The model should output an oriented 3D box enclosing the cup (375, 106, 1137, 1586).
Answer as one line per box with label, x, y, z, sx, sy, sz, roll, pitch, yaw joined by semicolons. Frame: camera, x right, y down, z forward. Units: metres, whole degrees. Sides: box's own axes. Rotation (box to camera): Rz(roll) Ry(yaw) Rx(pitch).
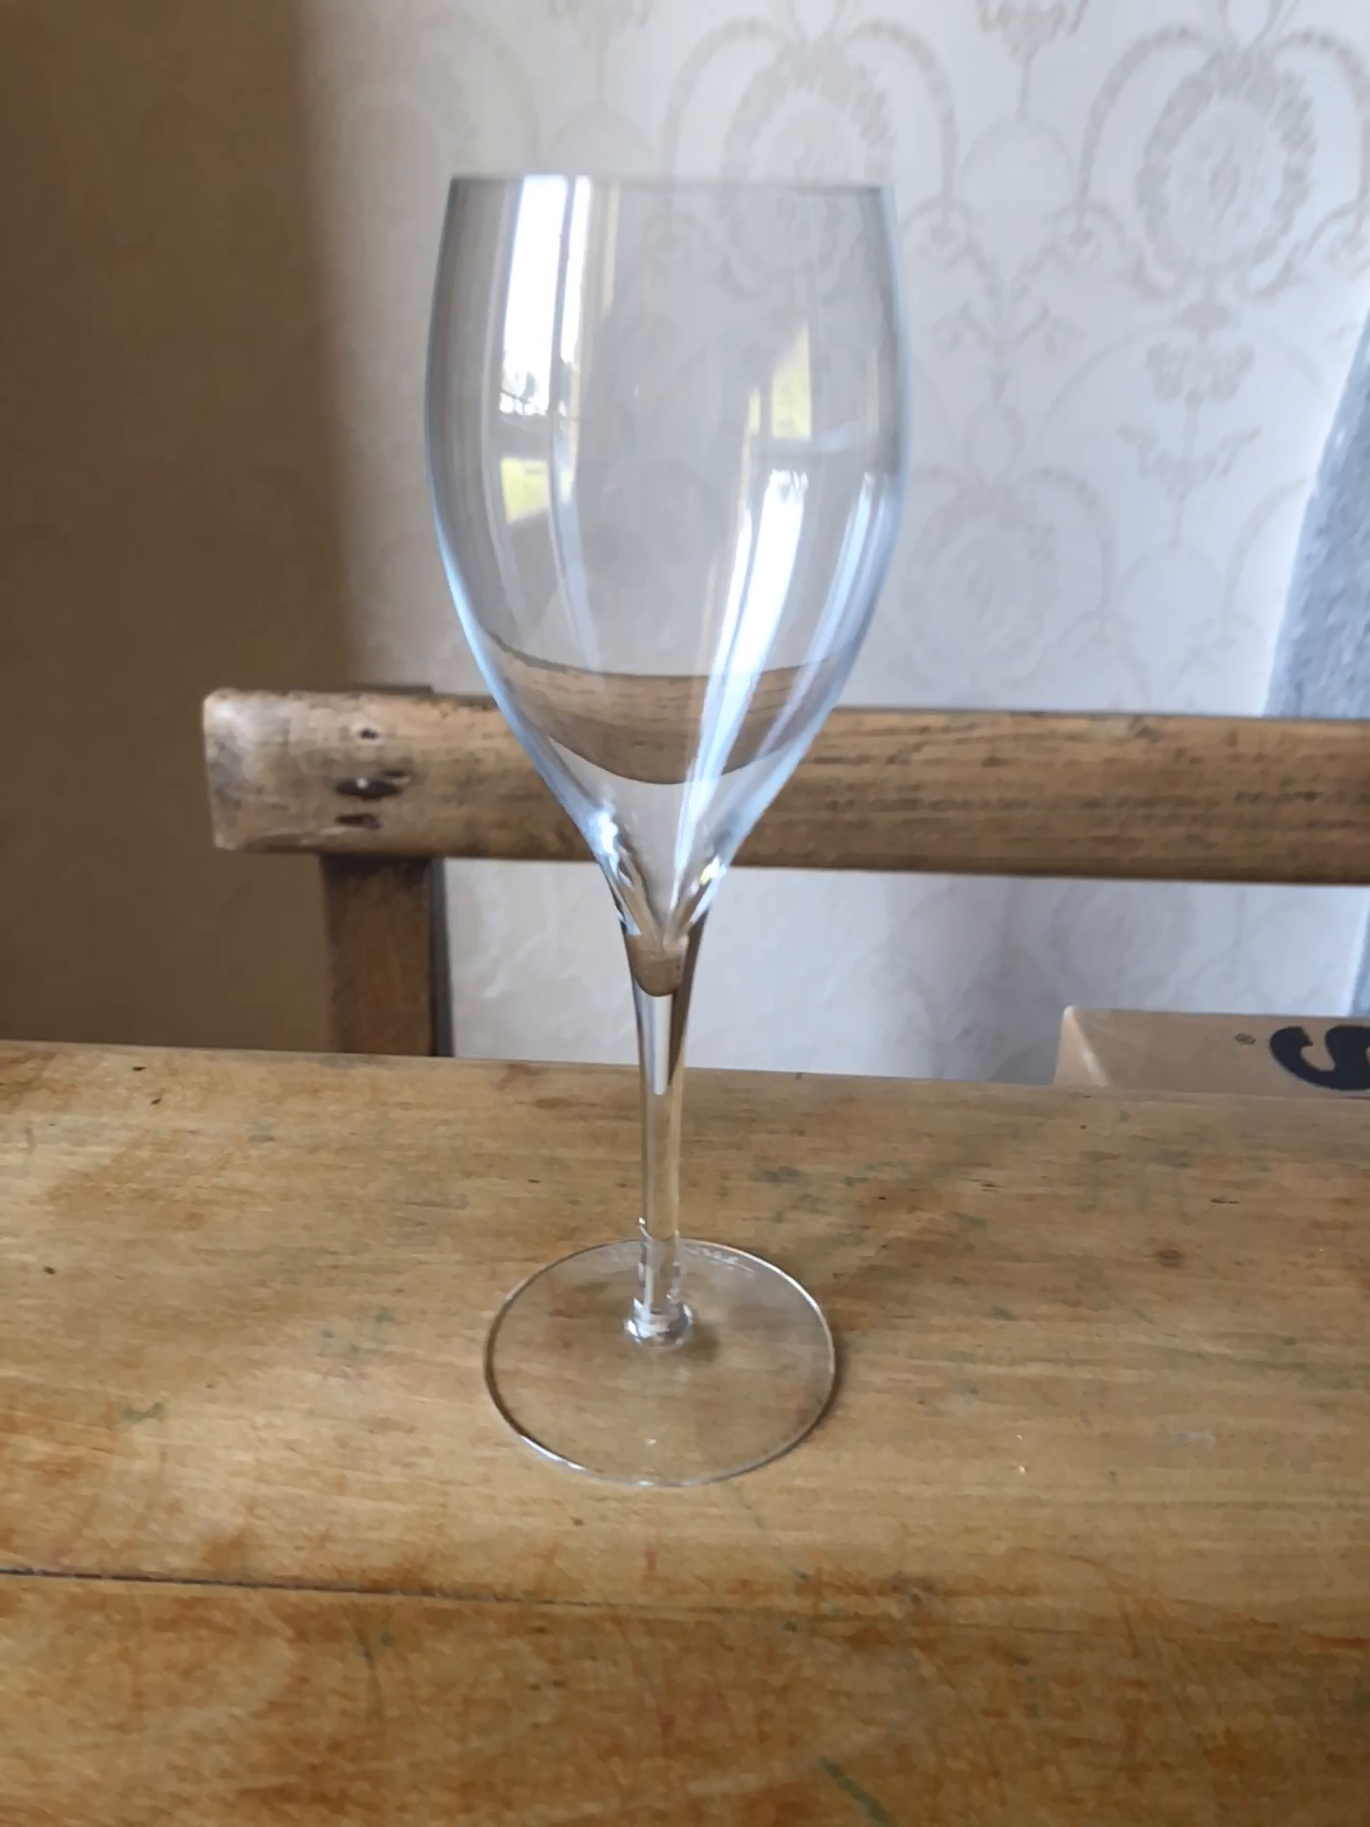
cup;0.003;-0.009;0.246;0.080;0.209;0.080;0;24;0
